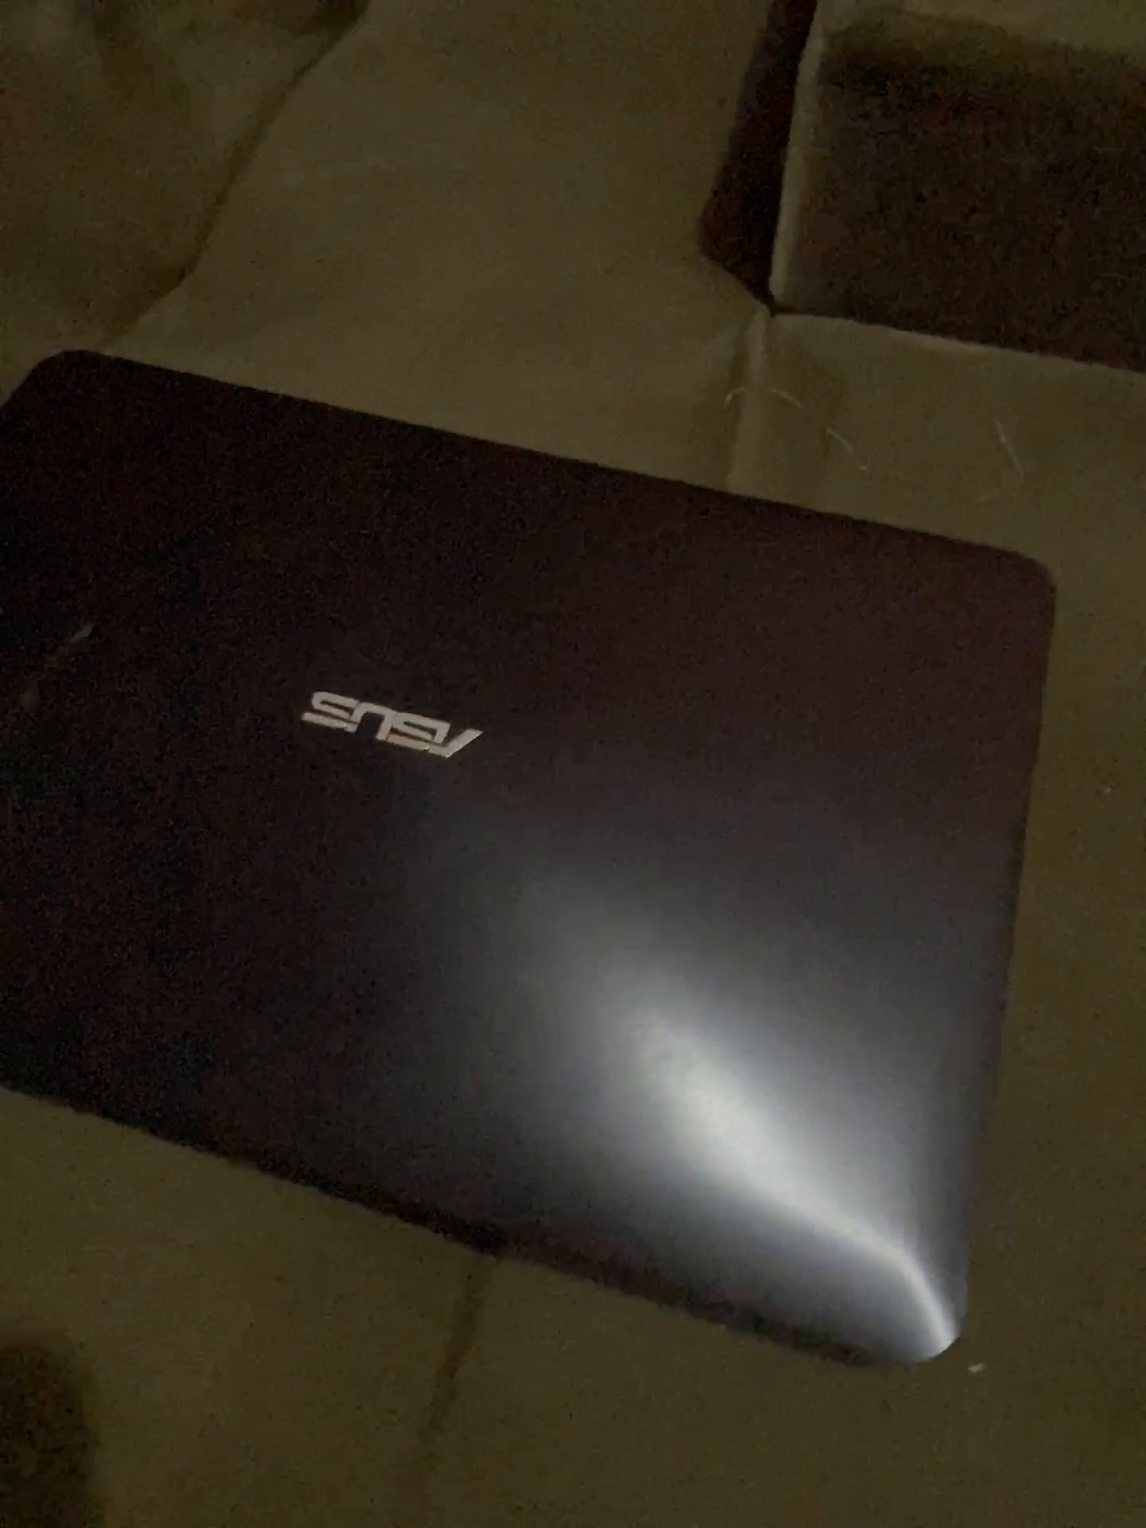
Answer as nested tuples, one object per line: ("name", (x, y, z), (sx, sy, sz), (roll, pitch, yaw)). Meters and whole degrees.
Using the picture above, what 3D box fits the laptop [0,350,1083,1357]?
("laptop", (-0.047, -0.010, 0.357), (0.369, 0.004, 0.235), (15, 62, 10))
